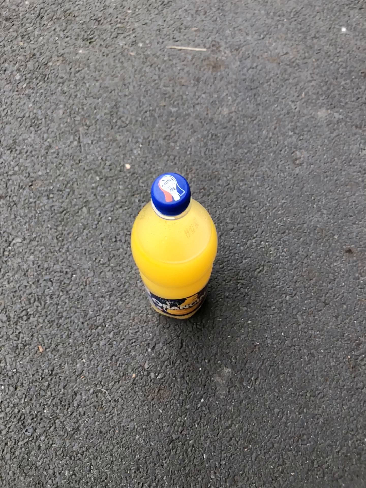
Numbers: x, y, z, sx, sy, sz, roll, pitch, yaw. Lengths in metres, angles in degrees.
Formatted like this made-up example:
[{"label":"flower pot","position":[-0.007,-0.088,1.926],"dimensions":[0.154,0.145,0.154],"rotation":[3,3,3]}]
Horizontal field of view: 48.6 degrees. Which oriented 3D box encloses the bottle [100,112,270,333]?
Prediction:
[{"label":"bottle","position":[-0.008,0.013,0.460],"dimensions":[0.100,0.339,0.100],"rotation":[1,69,-3]}]
